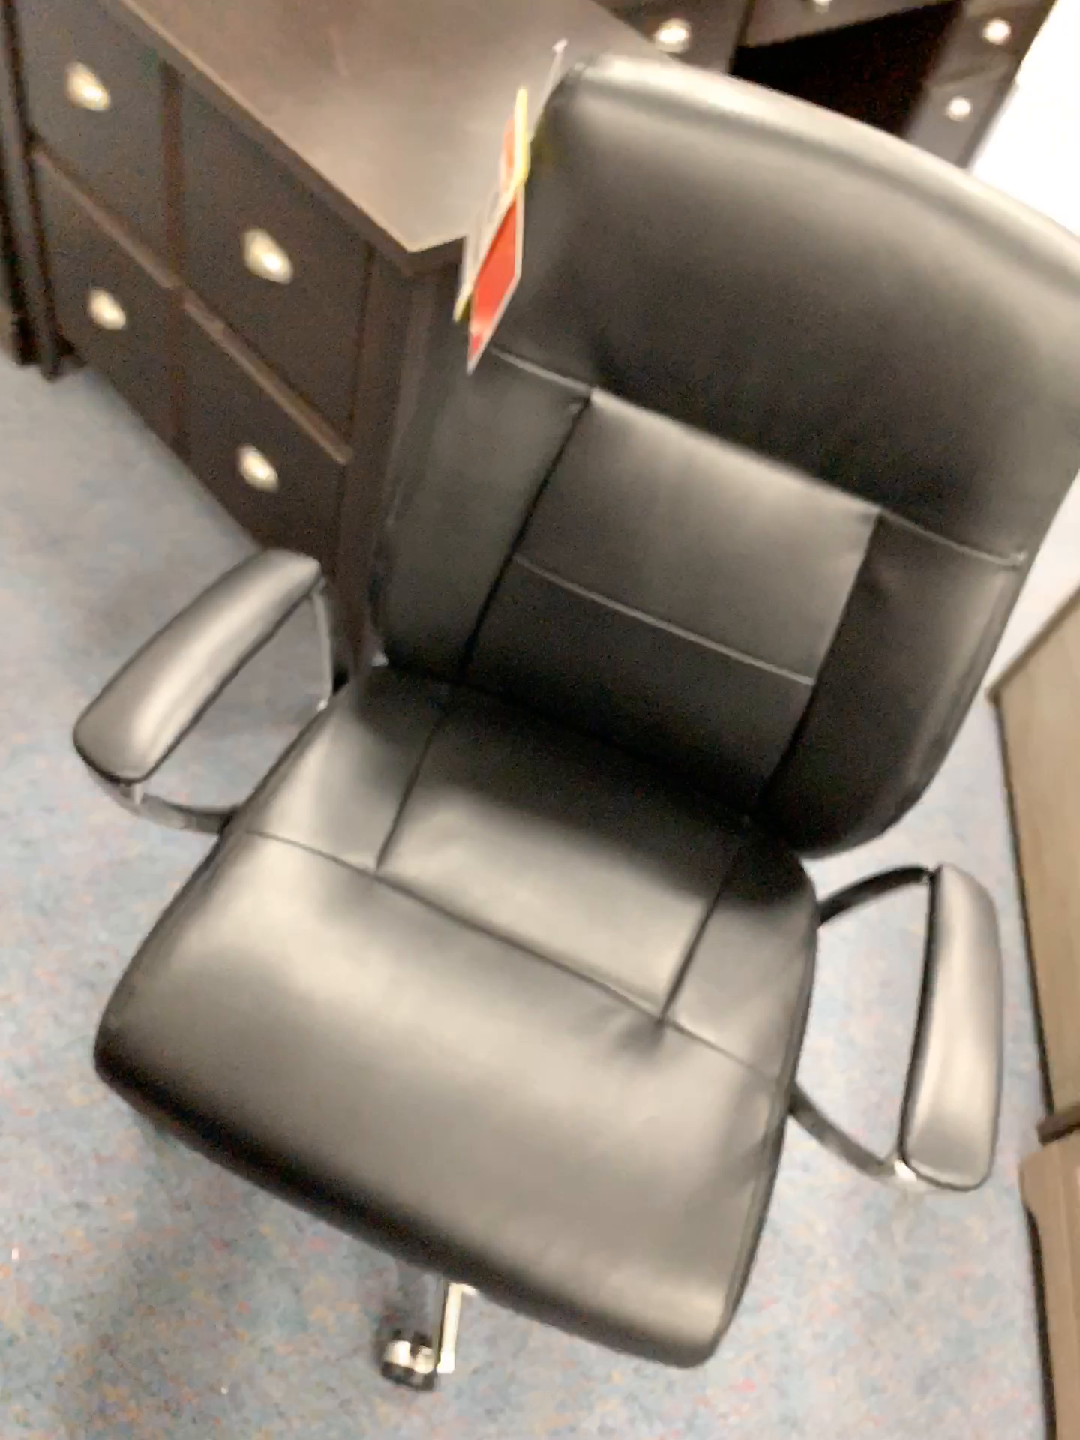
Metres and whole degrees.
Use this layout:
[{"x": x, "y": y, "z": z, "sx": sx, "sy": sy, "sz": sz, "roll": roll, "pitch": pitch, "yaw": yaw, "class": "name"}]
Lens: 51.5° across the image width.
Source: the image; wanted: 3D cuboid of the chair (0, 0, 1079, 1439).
[{"x": 0.021, "y": 0.127, "z": 0.936, "sx": 0.664, "sy": 0.998, "sz": 0.720, "roll": 24, "pitch": 52, "yaw": 3, "class": "chair"}]
